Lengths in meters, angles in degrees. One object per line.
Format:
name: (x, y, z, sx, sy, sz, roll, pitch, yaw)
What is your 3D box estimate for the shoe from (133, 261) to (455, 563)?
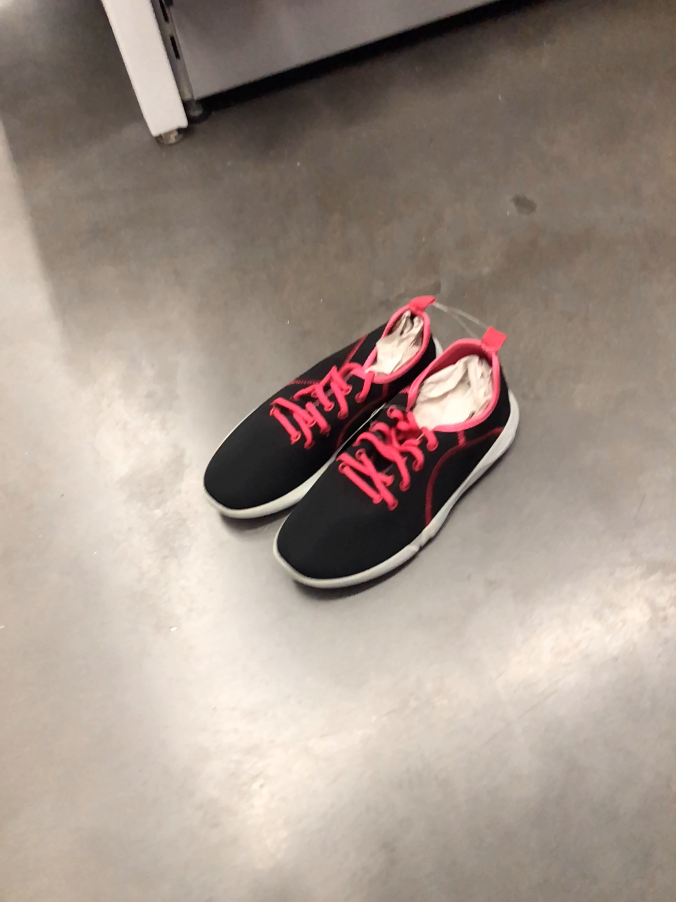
shoe: (-0.028, -0.033, 0.597, 0.231, 0.090, 0.100, -37, 65, -15)

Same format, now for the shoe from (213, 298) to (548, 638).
shoe: (0.036, 0.009, 0.551, 0.100, 0.090, 0.231, 40, 71, 22)
